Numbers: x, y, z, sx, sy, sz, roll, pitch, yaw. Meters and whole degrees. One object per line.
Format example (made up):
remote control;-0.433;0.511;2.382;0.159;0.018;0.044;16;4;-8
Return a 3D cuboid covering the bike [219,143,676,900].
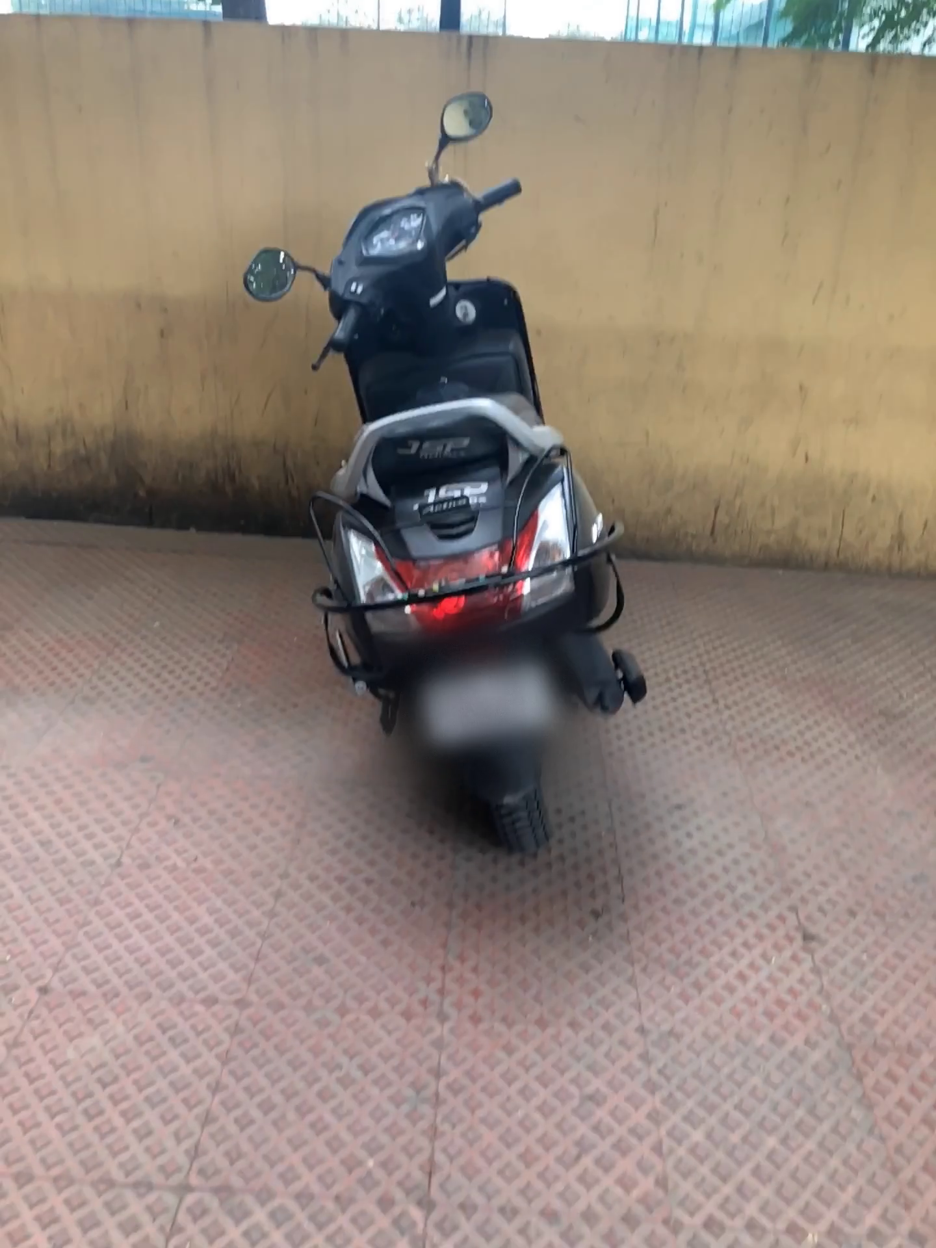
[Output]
bike;-0.067;-0.378;2.190;0.578;1.139;1.489;2;25;-3
